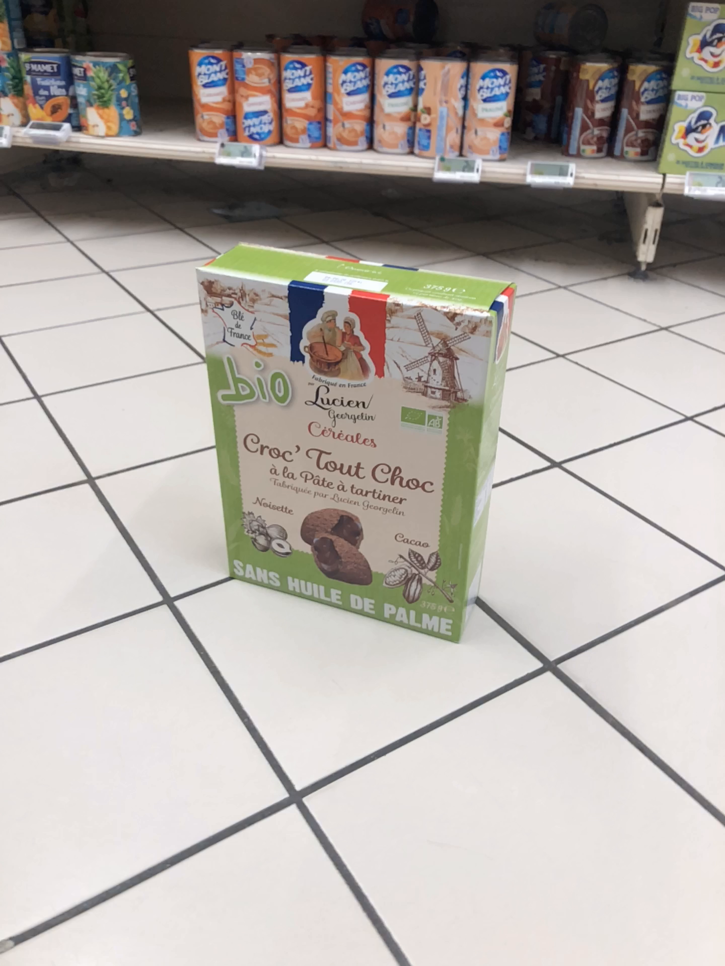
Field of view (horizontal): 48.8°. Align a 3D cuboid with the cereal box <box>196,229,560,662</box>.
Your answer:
[{"bbox_3d":[0.005,-0.026,0.533,0.200,0.239,0.081,14,33,19],"label":"cereal box"}]
